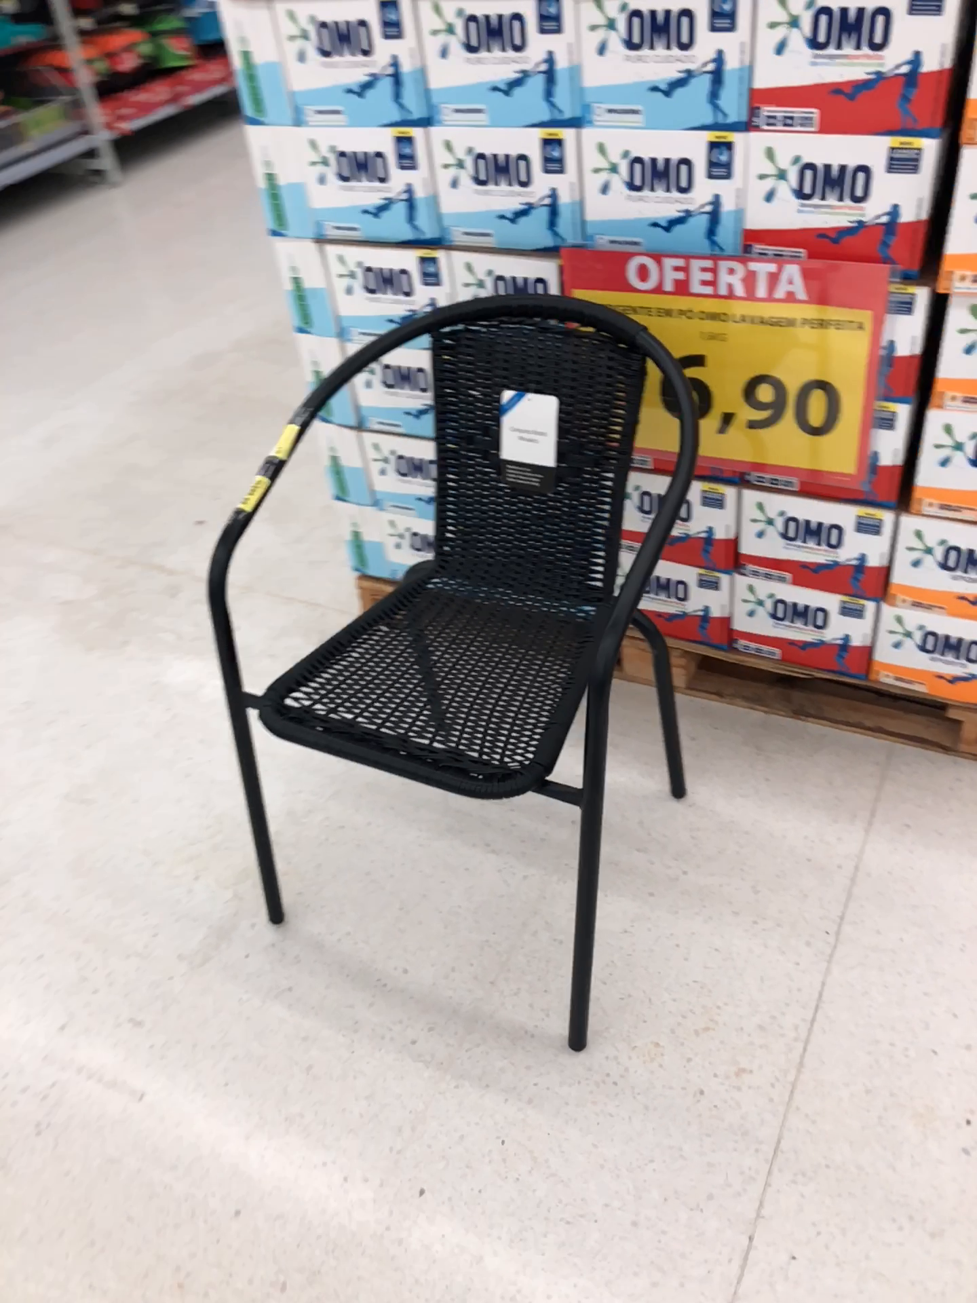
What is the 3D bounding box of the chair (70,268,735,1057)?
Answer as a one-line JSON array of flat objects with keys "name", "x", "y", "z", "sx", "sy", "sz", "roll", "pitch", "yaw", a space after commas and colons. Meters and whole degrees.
[{"name": "chair", "x": -0.031, "y": -0.002, "z": 1.321, "sx": 0.501, "sy": 0.724, "sz": 0.503, "roll": 14, "pitch": 43, "yaw": 24}]
